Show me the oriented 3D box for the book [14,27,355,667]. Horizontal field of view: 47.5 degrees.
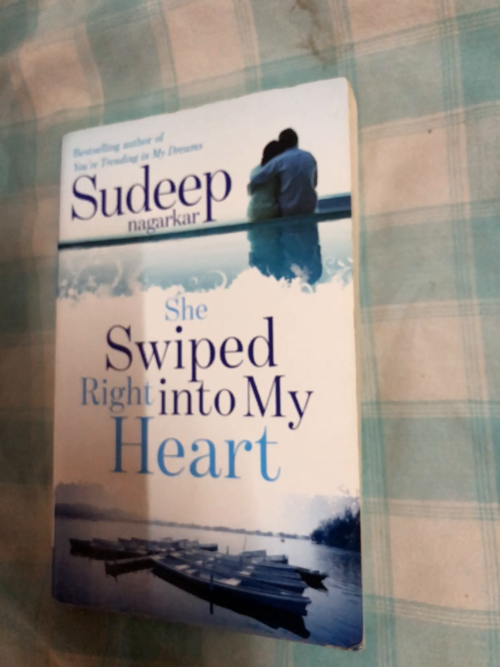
[{"bbox_3d":[-0.029,0.004,0.223,0.130,0.030,0.210,-2,86,21],"label":"book"}]
